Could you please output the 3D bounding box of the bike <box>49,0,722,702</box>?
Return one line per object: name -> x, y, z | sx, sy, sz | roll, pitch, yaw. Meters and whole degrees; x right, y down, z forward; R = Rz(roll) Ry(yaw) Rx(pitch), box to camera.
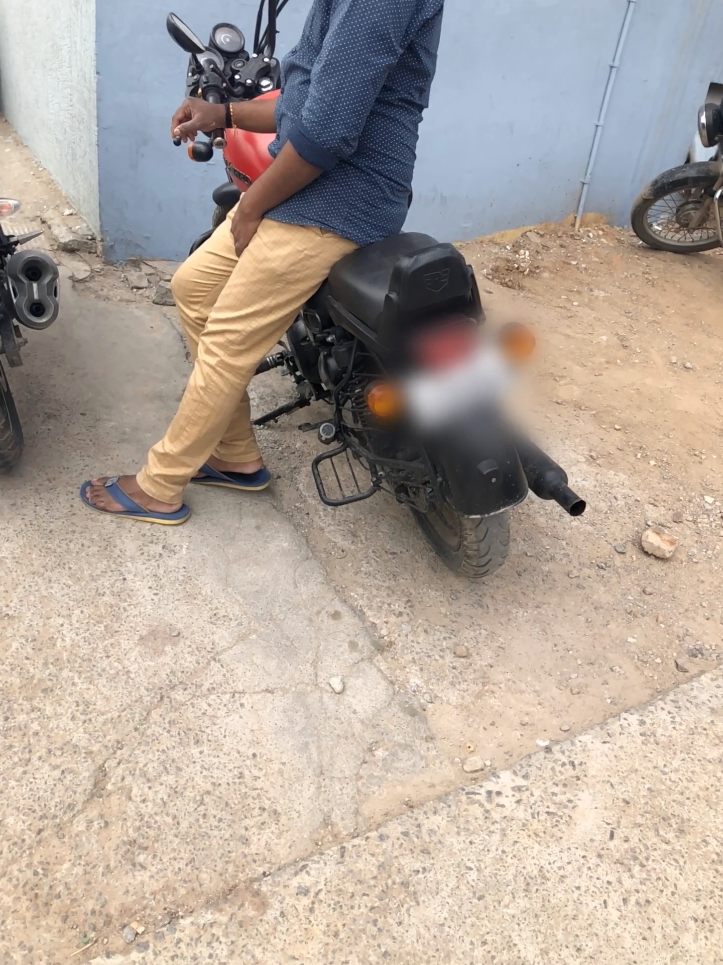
bike -> -0.168, -0.682, 1.855 | 0.779, 1.245, 1.544 | -7, 41, -26
